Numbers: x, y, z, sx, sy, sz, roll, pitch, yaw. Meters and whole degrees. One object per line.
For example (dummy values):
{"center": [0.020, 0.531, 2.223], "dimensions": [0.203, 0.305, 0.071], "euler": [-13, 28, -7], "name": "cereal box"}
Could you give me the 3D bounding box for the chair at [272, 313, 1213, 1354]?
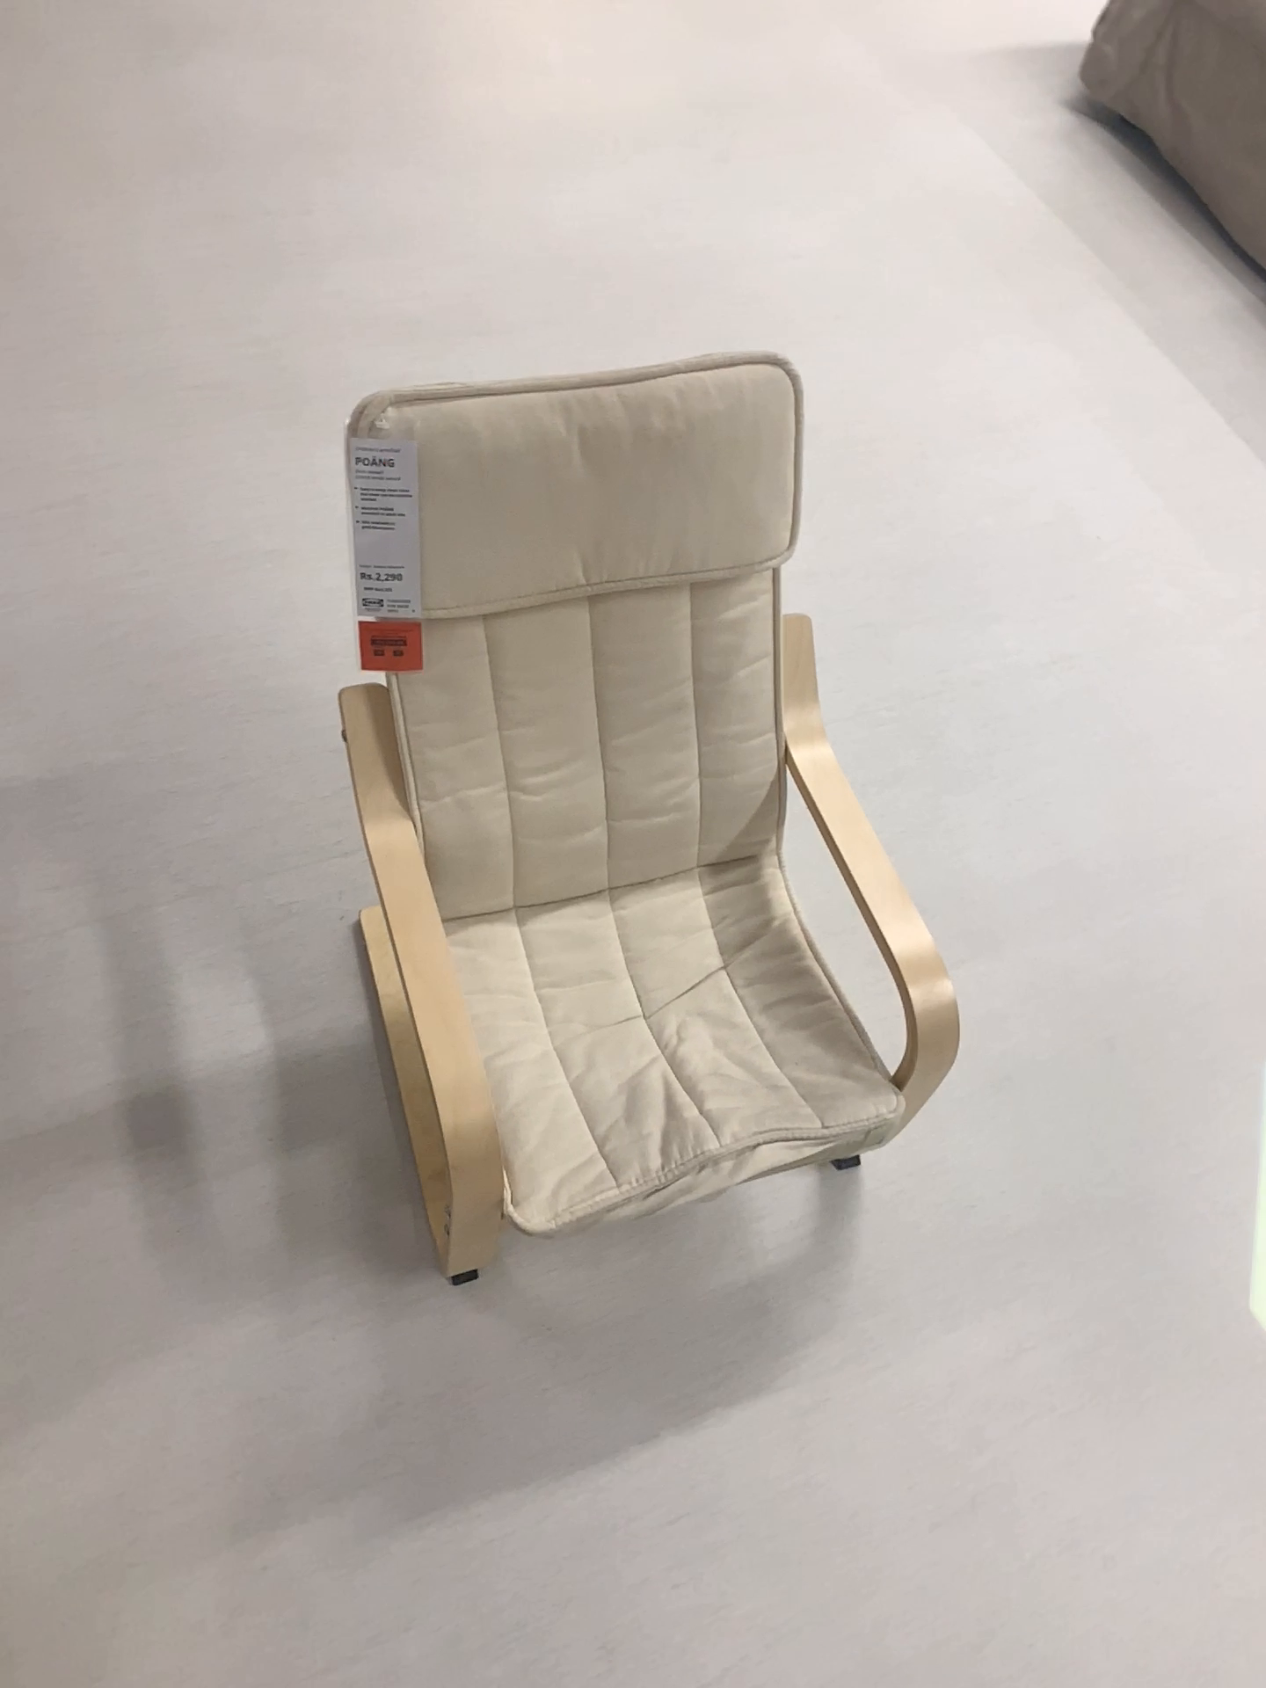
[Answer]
{"center": [-0.001, 0.041, 1.209], "dimensions": [0.490, 0.798, 0.541], "euler": [-12, 59, -17], "name": "chair"}
